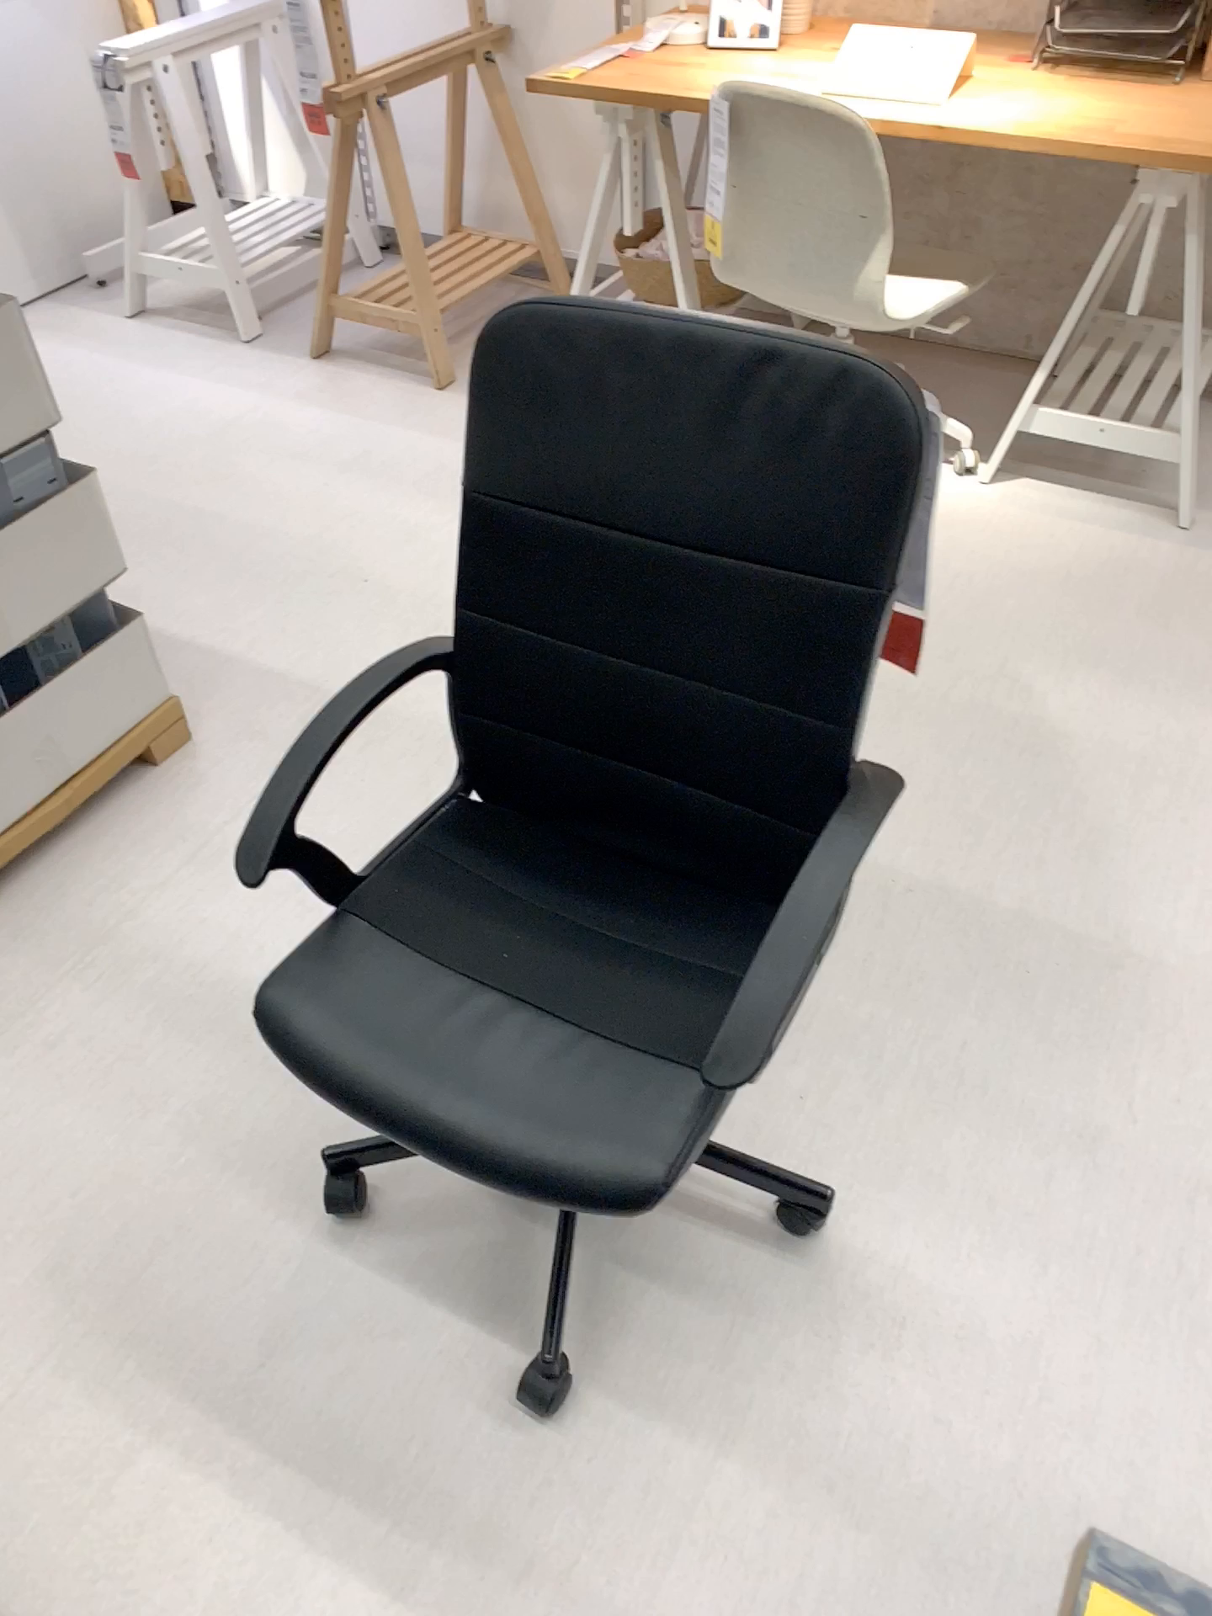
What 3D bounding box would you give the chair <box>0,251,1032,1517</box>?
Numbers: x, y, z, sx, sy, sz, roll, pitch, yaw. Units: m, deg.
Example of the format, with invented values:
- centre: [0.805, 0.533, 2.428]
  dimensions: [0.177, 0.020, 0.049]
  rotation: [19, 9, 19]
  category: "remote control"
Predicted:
- centre: [-0.053, 0.100, 1.220]
  dimensions: [0.611, 0.996, 0.582]
  rotation: [17, 46, 20]
  category: "chair"
